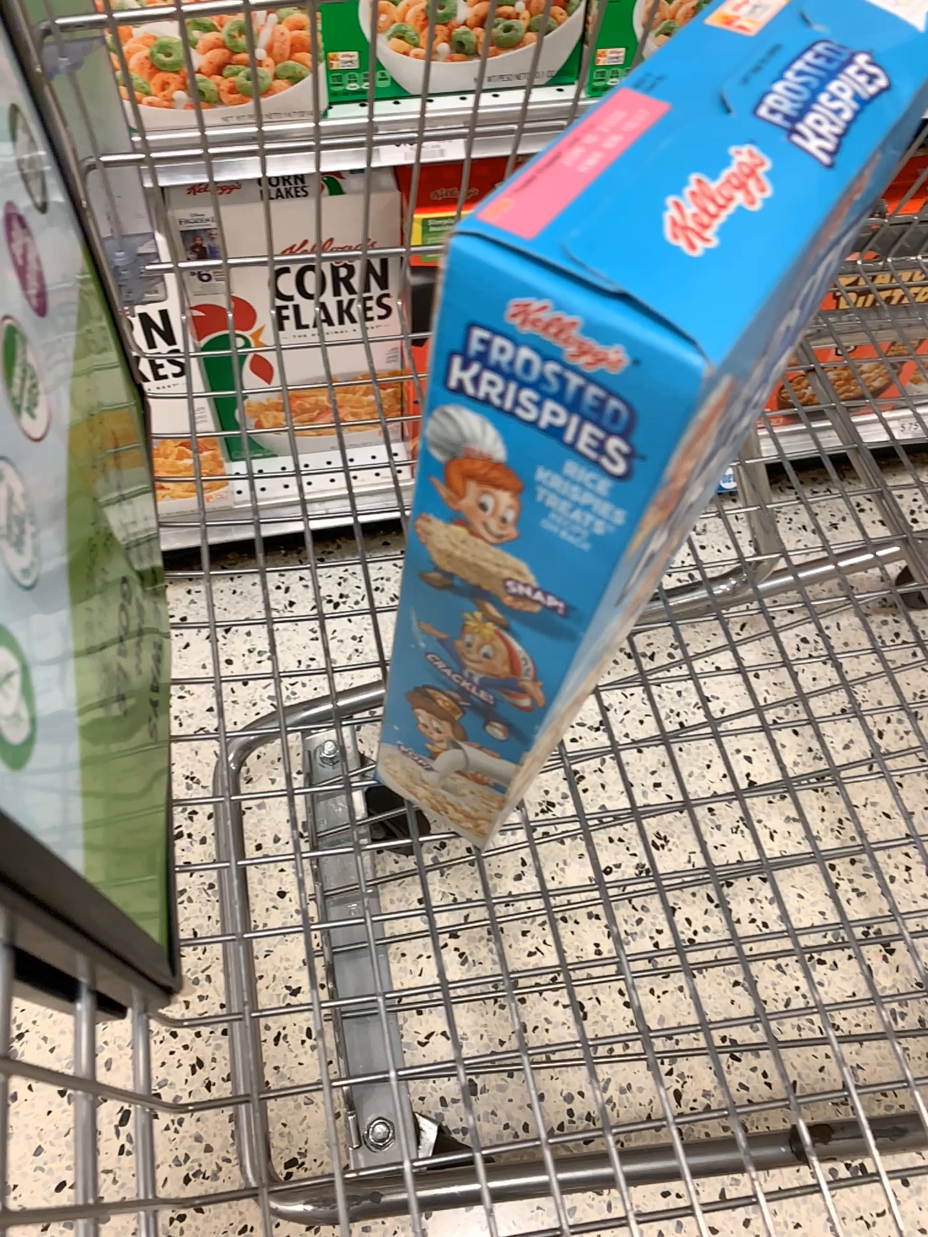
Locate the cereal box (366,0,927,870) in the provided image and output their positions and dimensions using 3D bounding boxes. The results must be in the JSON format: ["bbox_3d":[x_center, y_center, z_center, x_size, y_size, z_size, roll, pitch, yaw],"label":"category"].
[{"bbox_3d":[0.057,-0.047,0.350,0.060,0.318,0.201,34,61,10],"label":"cereal box"}]
